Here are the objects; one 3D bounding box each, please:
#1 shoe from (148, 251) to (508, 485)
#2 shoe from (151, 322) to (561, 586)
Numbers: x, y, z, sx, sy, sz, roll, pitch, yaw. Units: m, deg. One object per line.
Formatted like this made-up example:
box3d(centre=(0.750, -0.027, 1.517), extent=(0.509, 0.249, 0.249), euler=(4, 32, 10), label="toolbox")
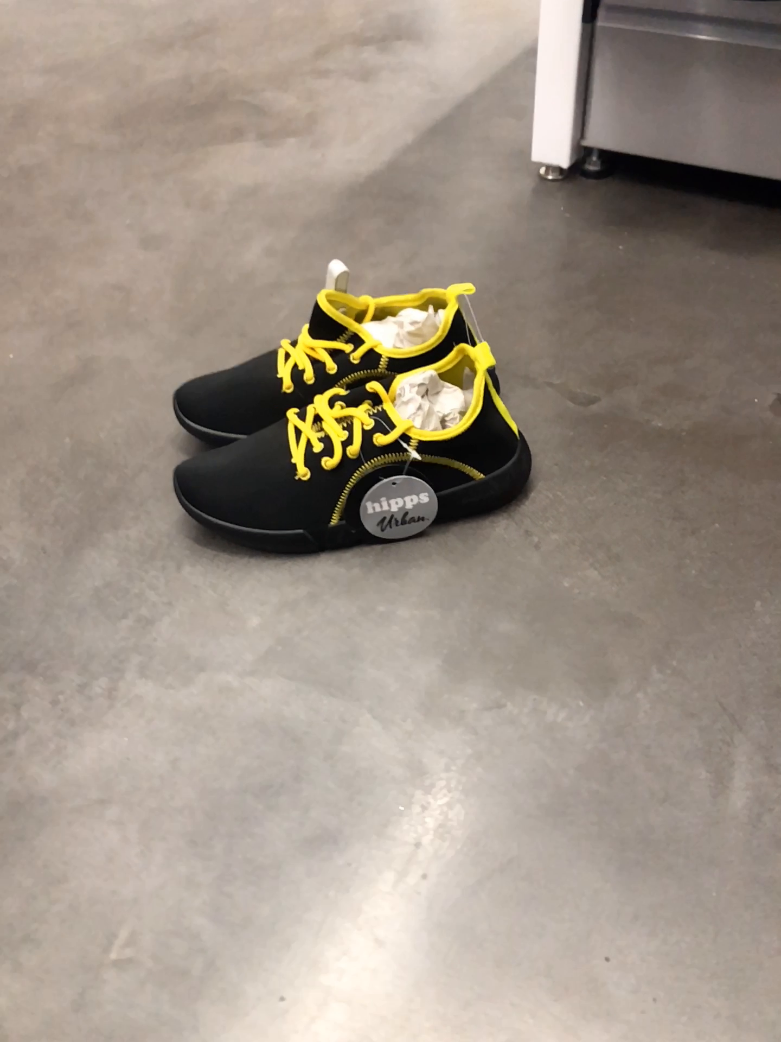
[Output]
box3d(centre=(-0.042, -0.109, 0.612), extent=(0.230, 0.099, 0.090), euler=(-9, 46, -4), label="shoe")
box3d(centre=(-0.021, -0.043, 0.544), extent=(0.230, 0.099, 0.090), euler=(-9, 46, -4), label="shoe")
